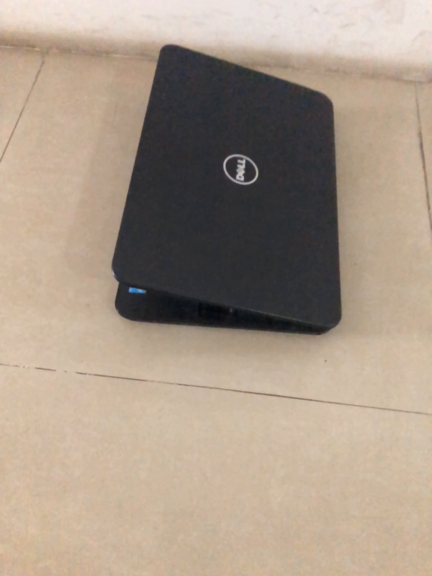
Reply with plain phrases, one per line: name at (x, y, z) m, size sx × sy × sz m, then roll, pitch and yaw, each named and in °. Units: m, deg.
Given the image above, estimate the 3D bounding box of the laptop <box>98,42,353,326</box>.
laptop at (0.023, -0.143, 0.577) m, size 0.247 × 0.078 × 0.358 m, roll 4°, pitch 63°, yaw 4°
